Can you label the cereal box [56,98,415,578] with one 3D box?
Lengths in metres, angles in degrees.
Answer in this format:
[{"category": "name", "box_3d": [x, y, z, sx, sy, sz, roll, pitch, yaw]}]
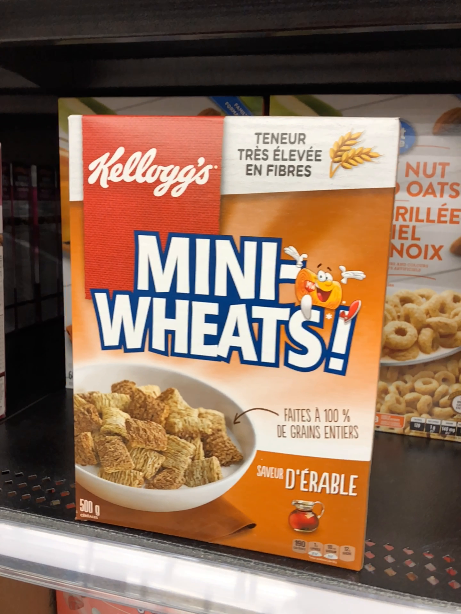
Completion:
[{"category": "cereal box", "box_3d": [-0.002, 0.015, 0.330, 0.200, 0.269, 0.060, 5, 11, 14]}]
